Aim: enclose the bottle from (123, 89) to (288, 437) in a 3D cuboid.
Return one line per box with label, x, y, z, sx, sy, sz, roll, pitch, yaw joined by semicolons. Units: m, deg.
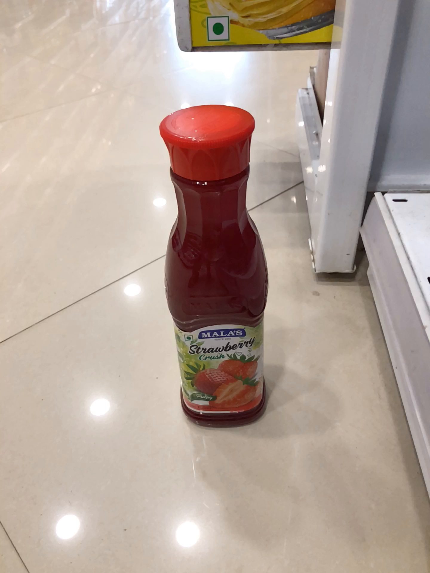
bottle;-0.001;0.002;0.337;0.080;0.248;0.070;-3;39;0
